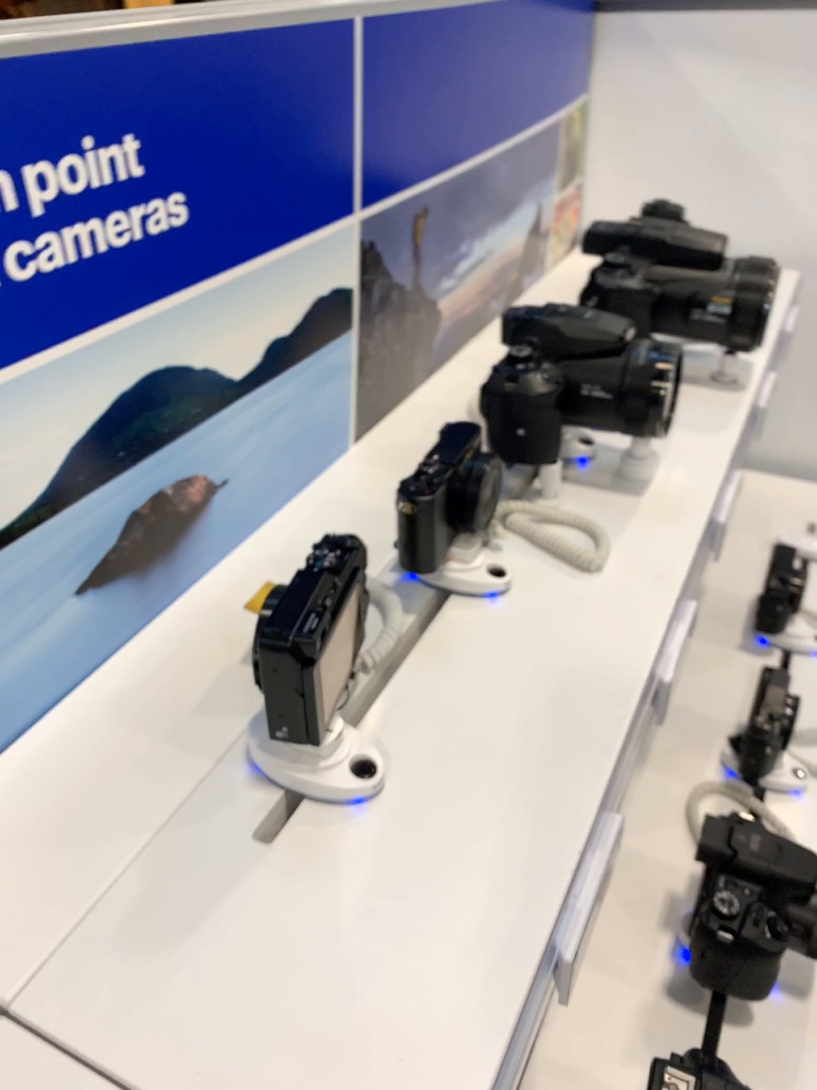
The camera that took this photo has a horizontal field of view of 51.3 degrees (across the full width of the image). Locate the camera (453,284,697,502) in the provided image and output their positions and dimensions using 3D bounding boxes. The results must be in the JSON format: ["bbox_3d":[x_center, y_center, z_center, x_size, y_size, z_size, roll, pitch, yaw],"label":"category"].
[{"bbox_3d":[0.137,-0.131,0.694,0.150,0.099,0.161,13,38,22],"label":"camera"}]

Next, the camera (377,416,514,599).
[{"bbox_3d":[0.028,-0.029,0.575,0.050,0.070,0.111,13,38,22],"label":"camera"}]

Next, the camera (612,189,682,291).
[{"bbox_3d":[0.298,-0.382,1.060,0.060,0.089,0.121,10,37,18],"label":"camera"}]

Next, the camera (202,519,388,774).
[{"bbox_3d":[-0.056,0.051,0.465,0.050,0.070,0.121,8,36,15],"label":"camera"}]

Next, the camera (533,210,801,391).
[{"bbox_3d":[0.256,-0.251,0.849,0.220,0.109,0.161,12,37,21],"label":"camera"}]
